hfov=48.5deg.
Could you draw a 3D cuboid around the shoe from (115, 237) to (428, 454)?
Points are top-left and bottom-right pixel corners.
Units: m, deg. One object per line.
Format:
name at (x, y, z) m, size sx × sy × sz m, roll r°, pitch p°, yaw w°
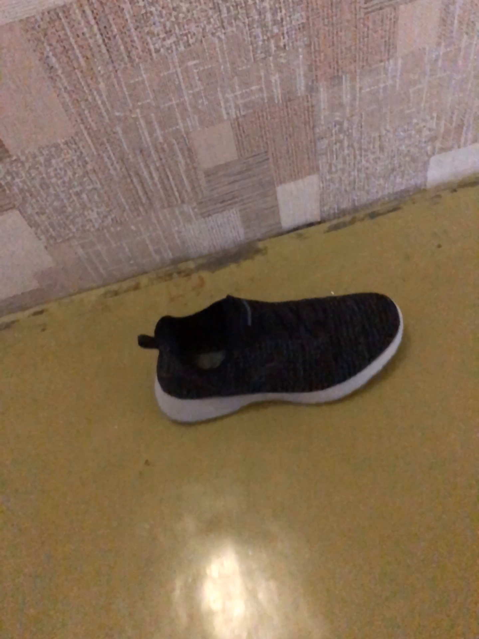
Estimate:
shoe at (0.035, 0.034, 0.627) m, size 0.320 × 0.130 × 0.120 m, roll -16°, pitch 54°, yaw 1°
